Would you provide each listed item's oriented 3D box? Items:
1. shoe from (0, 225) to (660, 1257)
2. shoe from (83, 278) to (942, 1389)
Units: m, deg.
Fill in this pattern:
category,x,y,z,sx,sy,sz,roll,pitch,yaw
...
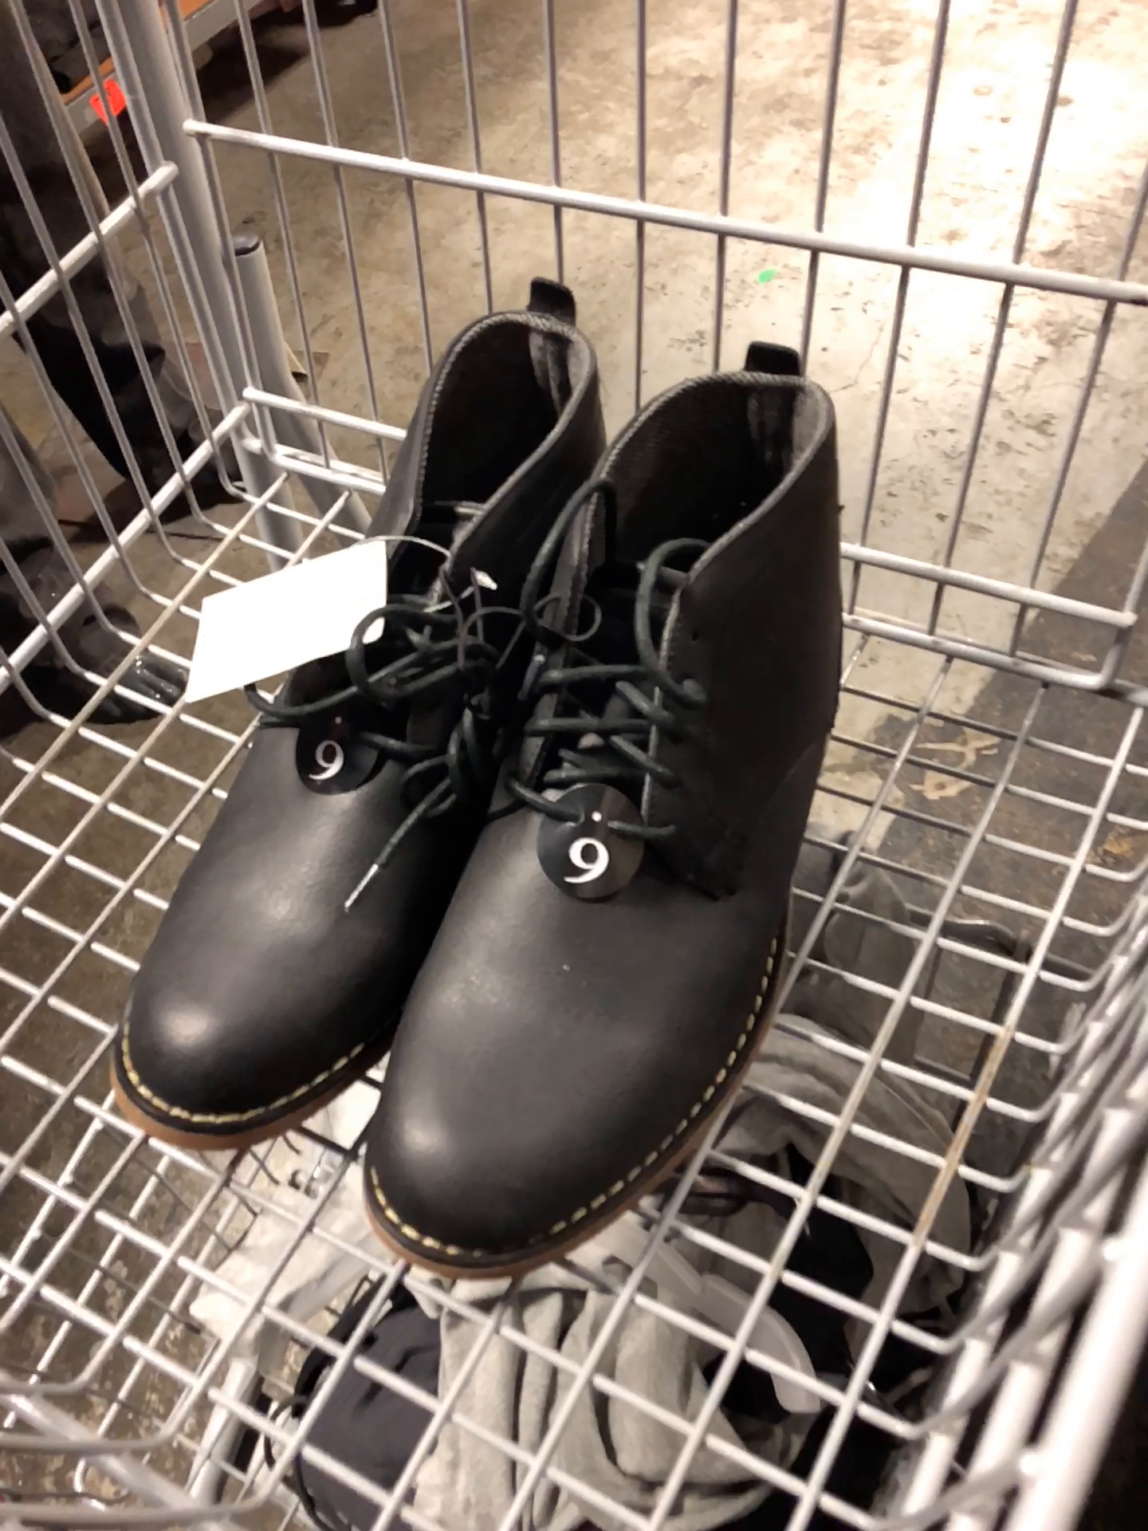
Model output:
category,x,y,z,sx,sy,sz,roll,pitch,yaw
shoe,-0.077,-0.006,0.414,0.100,0.199,0.261,20,61,20
shoe,0.012,0.023,0.393,0.100,0.199,0.271,20,61,20
